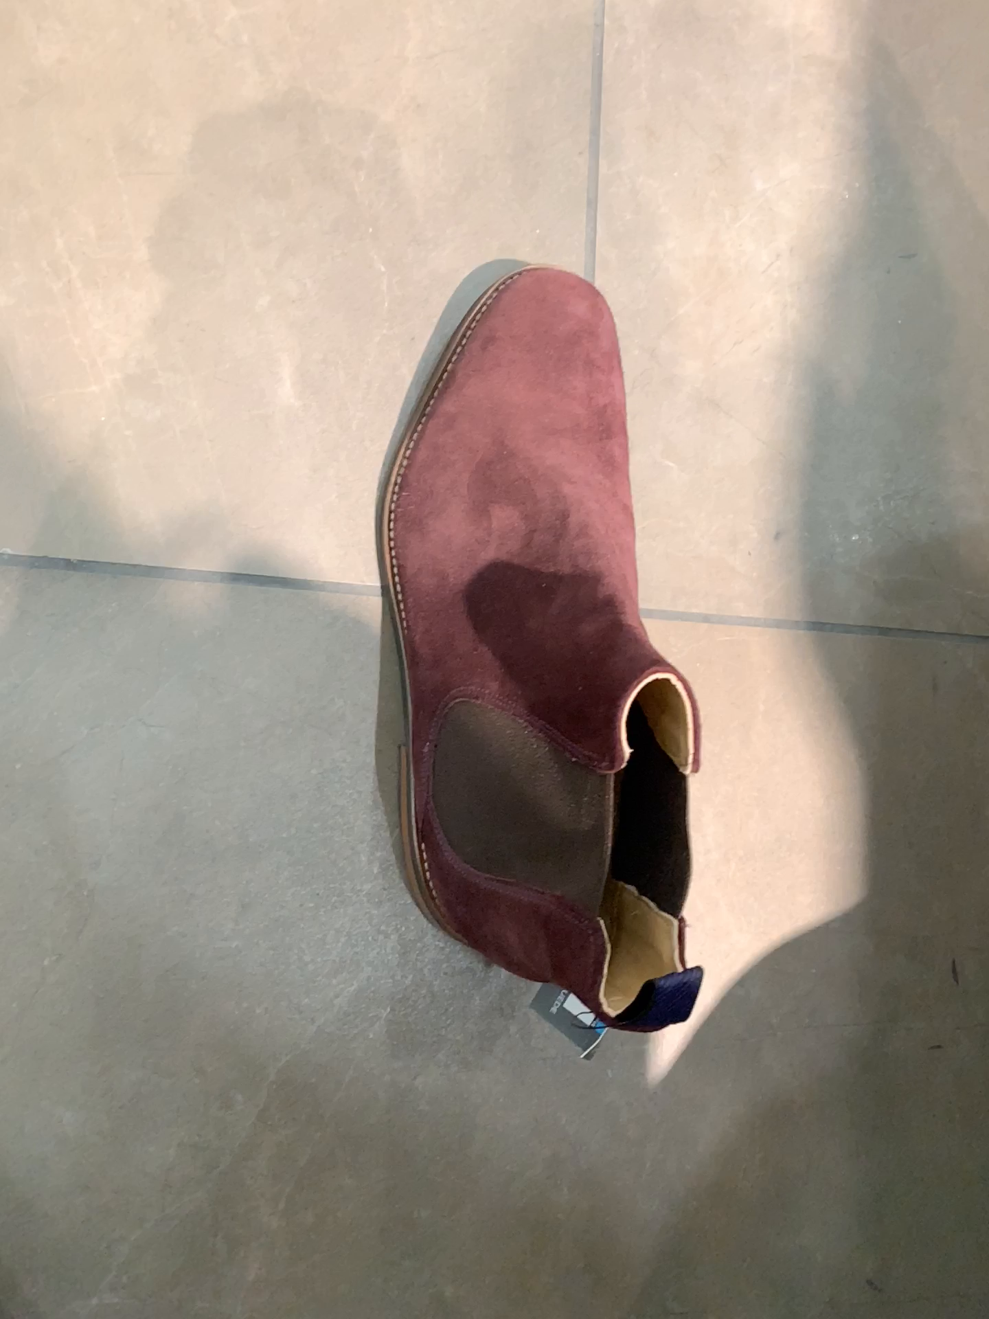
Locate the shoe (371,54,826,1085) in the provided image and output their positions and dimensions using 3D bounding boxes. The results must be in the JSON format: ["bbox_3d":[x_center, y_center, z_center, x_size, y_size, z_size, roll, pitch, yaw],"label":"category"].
[{"bbox_3d":[0.026,-0.025,0.383,0.114,0.162,0.297,2,86,-16],"label":"shoe"}]
